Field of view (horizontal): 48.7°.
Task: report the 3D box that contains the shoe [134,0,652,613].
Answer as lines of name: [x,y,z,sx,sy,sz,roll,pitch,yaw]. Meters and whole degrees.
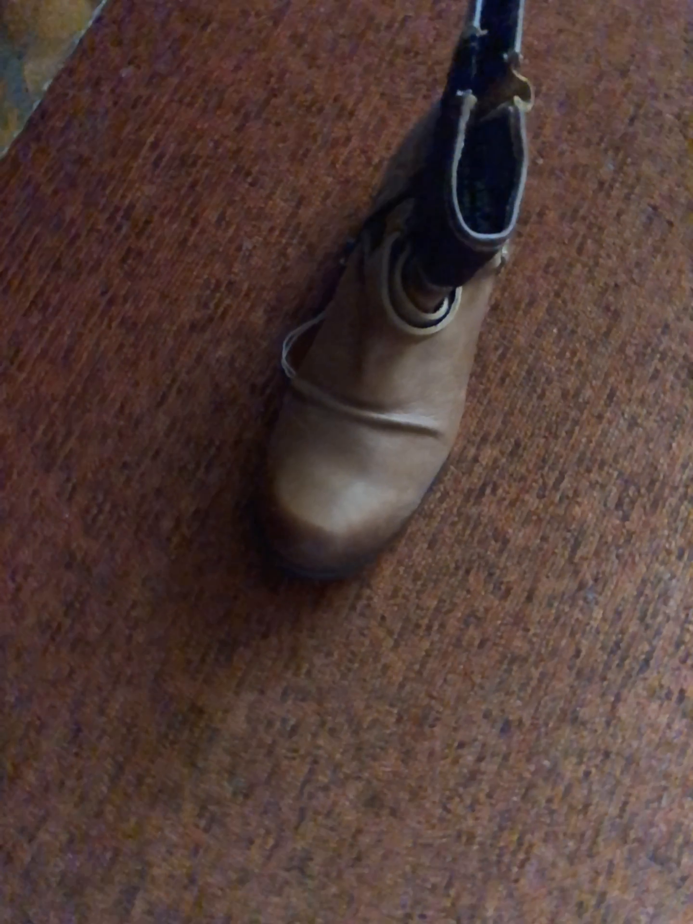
shoe: [0.024,-0.078,0.384,0.110,0.190,0.280,20,80,3]
